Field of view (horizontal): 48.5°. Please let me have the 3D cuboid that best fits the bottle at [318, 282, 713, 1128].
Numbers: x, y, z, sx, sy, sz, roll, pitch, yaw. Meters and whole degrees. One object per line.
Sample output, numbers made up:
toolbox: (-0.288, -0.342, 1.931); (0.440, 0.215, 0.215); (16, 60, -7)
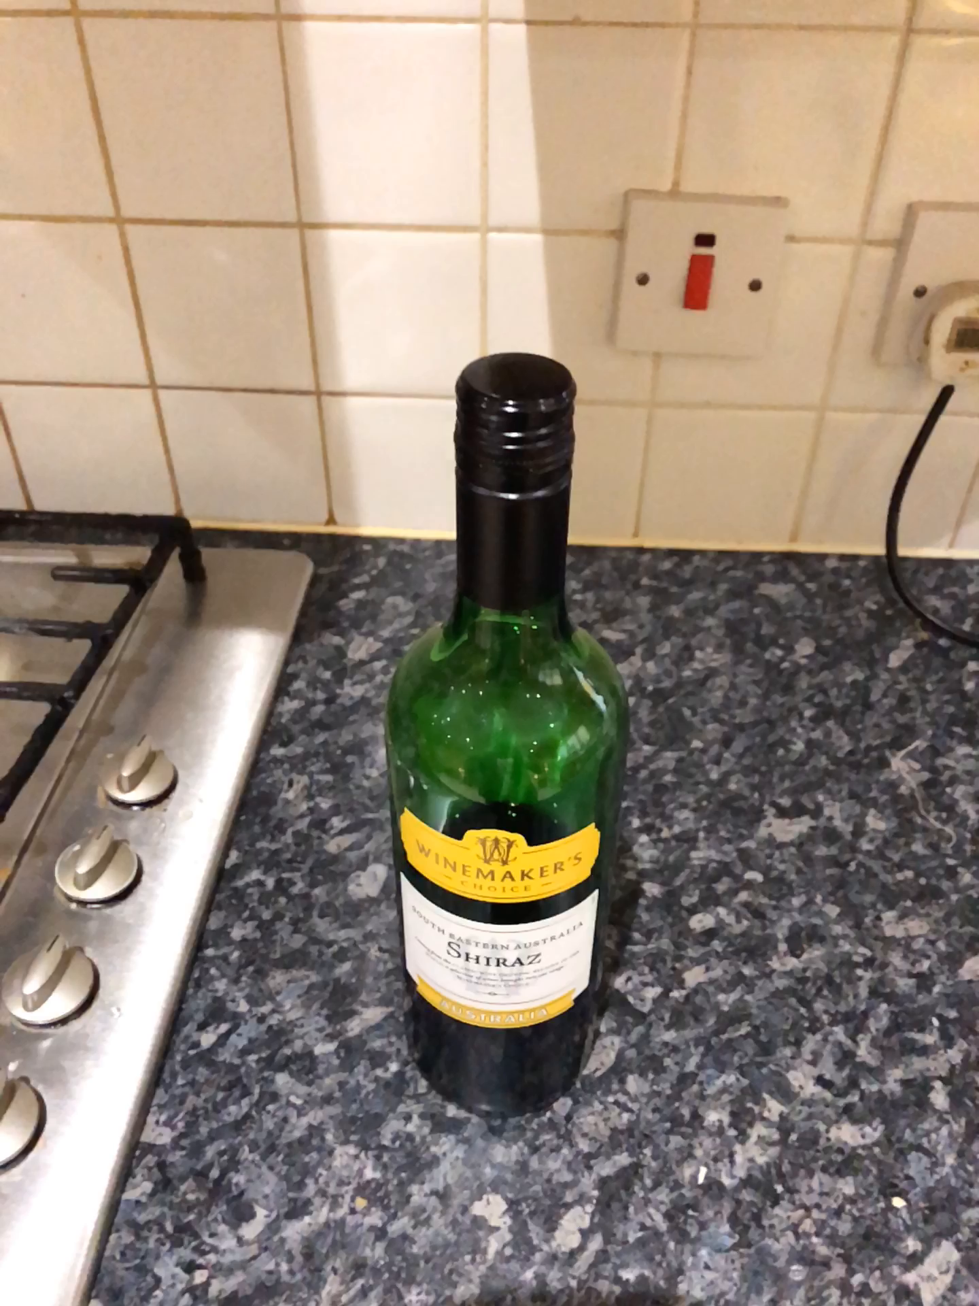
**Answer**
bottle: (0.007, 0.038, 0.339); (0.080, 0.278, 0.081); (0, 40, 0)
